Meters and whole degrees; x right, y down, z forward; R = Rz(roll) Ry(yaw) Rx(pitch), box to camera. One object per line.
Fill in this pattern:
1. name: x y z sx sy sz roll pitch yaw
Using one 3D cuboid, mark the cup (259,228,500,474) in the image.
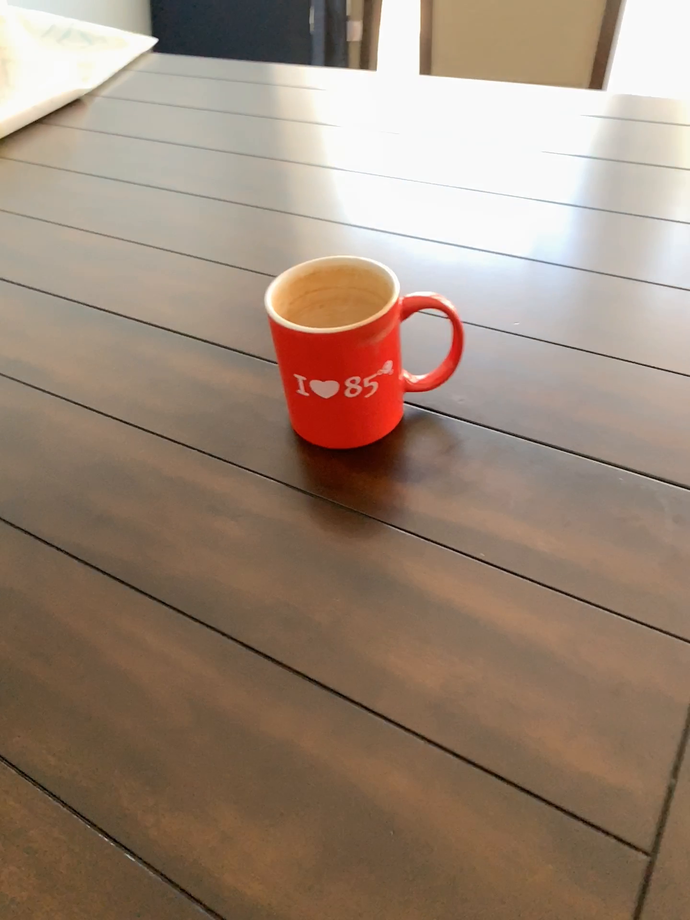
1. cup: 0.020 -0.067 0.433 0.120 0.100 0.080 -13 45 -5
